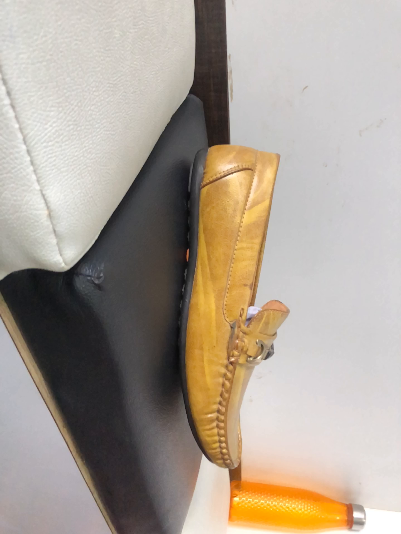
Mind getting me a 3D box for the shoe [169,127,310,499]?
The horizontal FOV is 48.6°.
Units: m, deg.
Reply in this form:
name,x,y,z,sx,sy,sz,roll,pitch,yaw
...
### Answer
name,x,y,z,sx,sy,sz,roll,pitch,yaw
shoe,0.042,0.029,0.409,0.171,0.090,0.270,-23,115,-79
